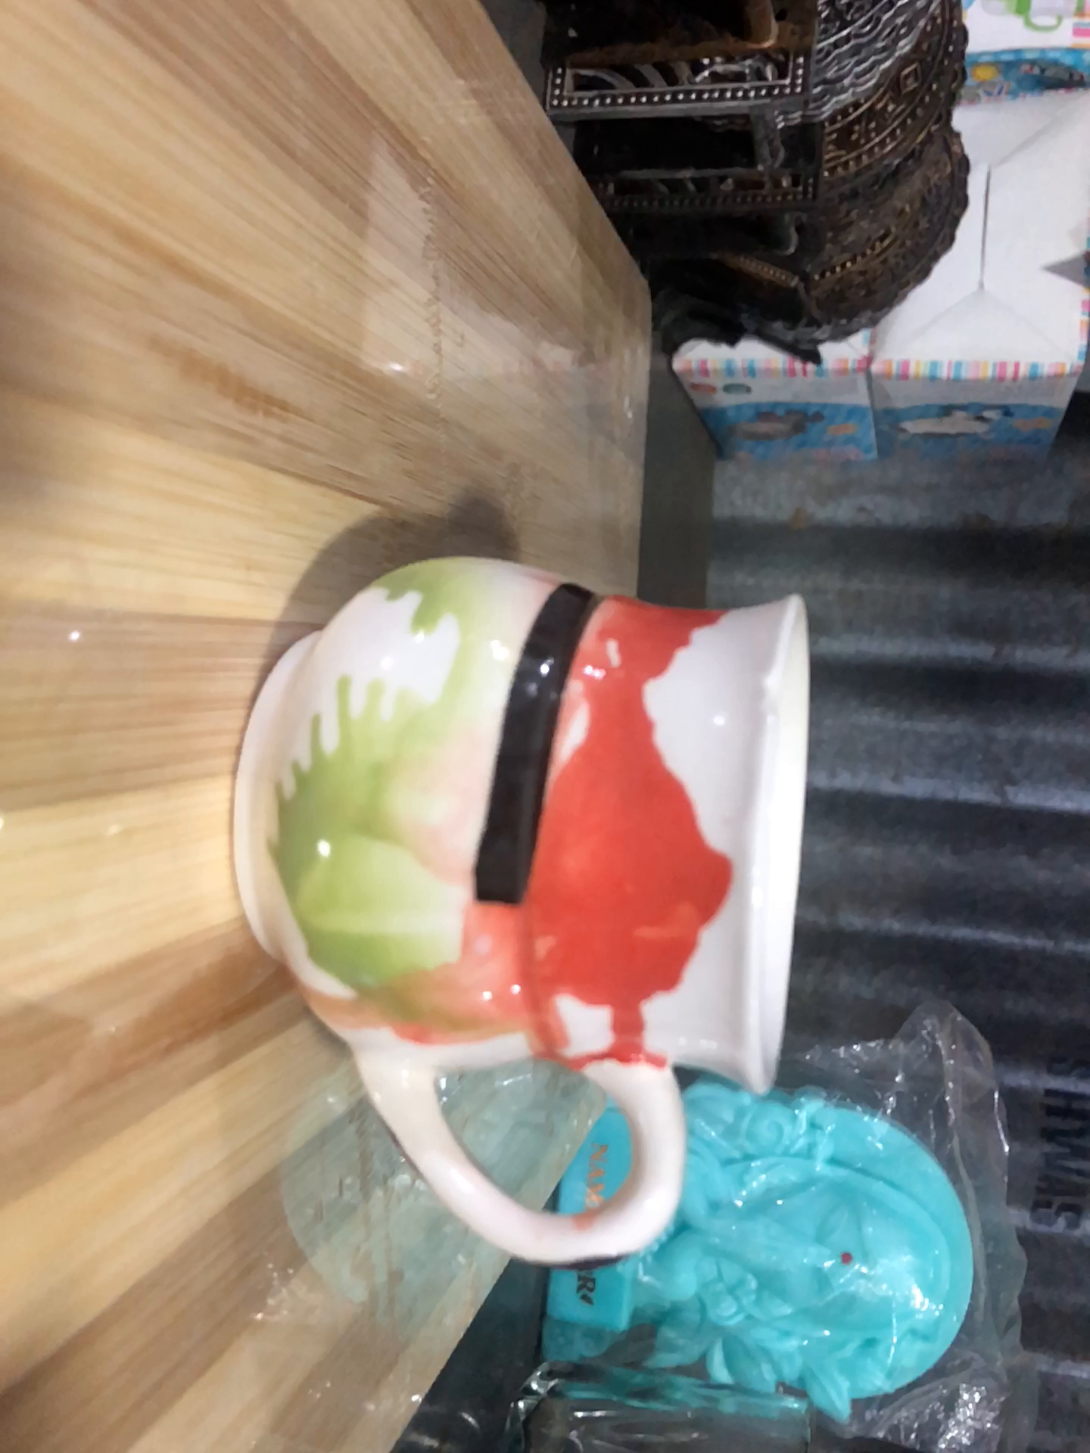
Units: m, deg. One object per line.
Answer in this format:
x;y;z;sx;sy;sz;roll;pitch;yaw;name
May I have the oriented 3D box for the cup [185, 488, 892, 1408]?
0.004;0.022;0.159;0.060;0.070;0.090;13;82;-77;cup
